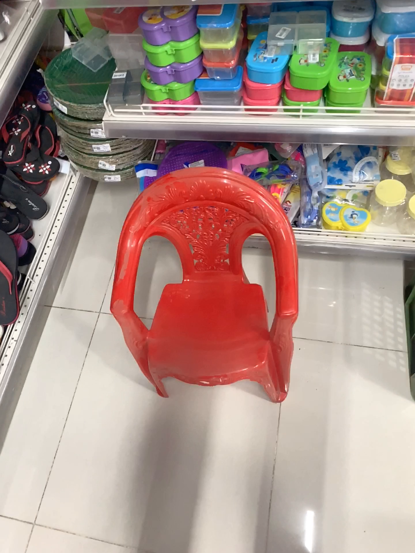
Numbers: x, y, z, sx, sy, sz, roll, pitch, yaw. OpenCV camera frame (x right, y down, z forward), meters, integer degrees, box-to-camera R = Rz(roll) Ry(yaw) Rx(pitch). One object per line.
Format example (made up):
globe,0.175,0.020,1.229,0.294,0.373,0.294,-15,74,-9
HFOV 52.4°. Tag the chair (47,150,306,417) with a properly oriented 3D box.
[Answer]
chair,-0.003,0.053,0.958,0.410,0.499,0.410,1,64,10
